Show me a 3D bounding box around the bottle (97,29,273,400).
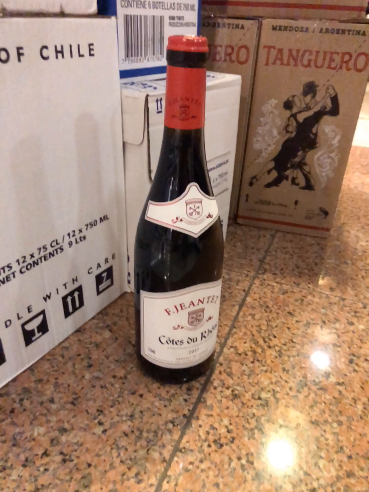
[{"bbox_3d":[-0.008,-0.016,0.342,0.090,0.288,0.080,-13,33,-26],"label":"bottle"}]
